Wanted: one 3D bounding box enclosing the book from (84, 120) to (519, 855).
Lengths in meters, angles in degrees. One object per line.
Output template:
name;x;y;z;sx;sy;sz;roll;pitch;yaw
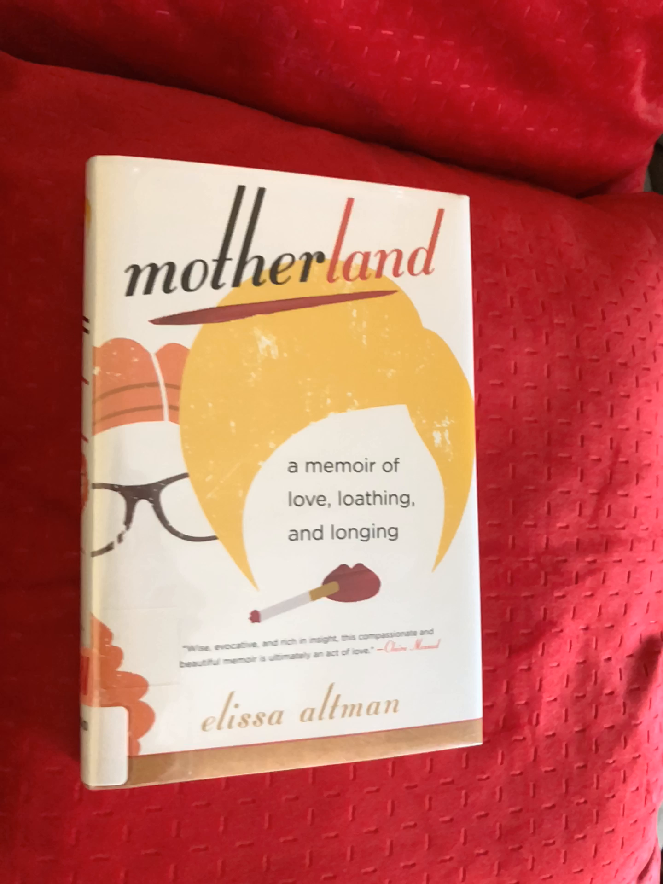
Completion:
book;-0.010;0.012;0.253;0.140;0.040;0.210;0;87;-19
